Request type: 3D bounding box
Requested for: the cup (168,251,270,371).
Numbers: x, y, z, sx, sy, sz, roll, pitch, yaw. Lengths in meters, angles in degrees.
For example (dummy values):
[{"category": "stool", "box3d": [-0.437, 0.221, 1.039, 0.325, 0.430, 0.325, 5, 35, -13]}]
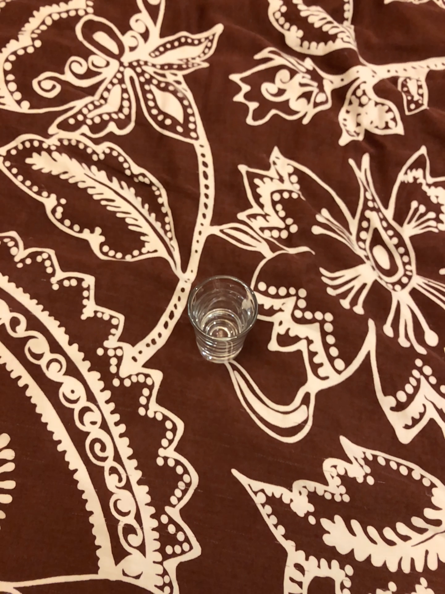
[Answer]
[{"category": "cup", "box3d": [-0.002, 0.012, 0.327, 0.045, 0.070, 0.042, 0, 70, -1]}]
